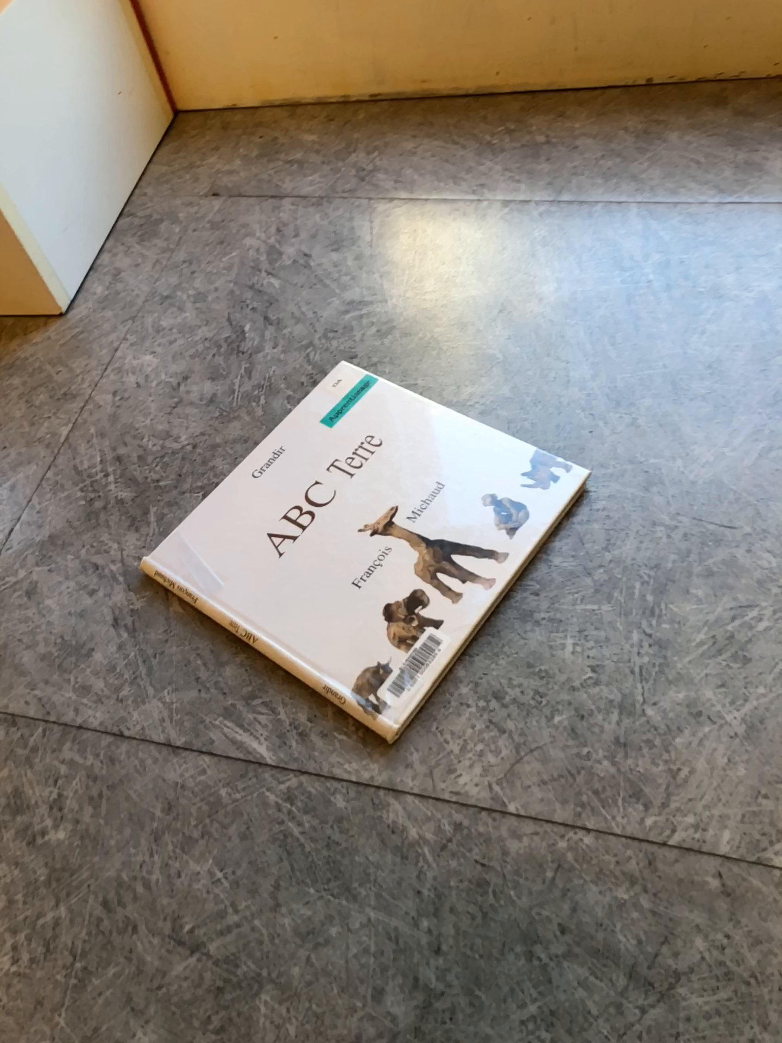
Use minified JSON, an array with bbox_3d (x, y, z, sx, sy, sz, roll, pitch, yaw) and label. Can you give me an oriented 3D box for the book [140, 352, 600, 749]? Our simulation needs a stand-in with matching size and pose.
[{"bbox_3d":[-0.012,0.000,0.513,0.194,0.020,0.201,28,64,27],"label":"book"}]
